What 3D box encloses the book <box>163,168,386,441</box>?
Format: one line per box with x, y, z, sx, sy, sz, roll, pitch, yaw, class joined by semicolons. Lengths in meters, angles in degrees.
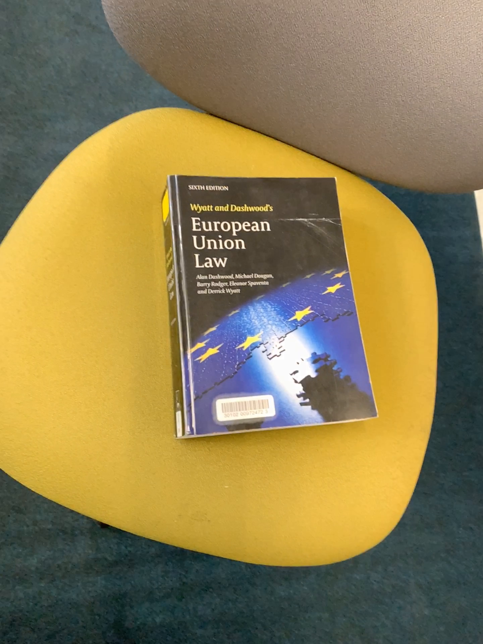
0.024;-0.022;0.486;0.181;0.060;0.251;-3;75;-13;book
